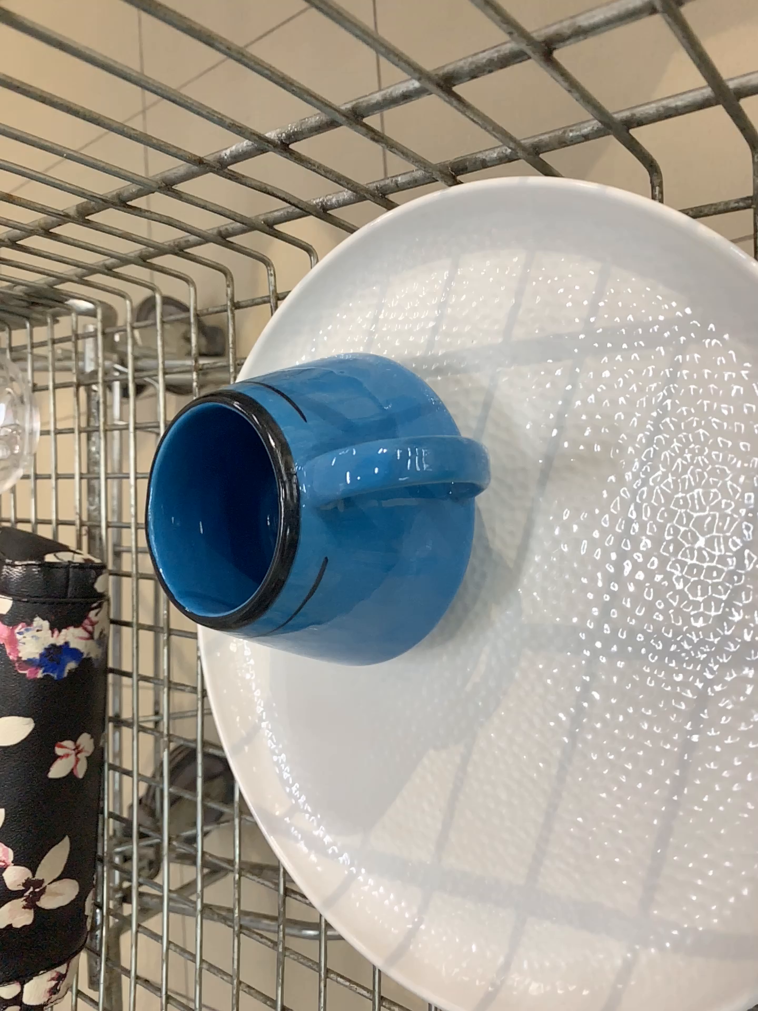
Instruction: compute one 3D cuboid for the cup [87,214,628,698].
[{"bbox_3d":[-0.010,-0.004,0.252,0.131,0.090,0.100,-18,79,36],"label":"cup"}]
